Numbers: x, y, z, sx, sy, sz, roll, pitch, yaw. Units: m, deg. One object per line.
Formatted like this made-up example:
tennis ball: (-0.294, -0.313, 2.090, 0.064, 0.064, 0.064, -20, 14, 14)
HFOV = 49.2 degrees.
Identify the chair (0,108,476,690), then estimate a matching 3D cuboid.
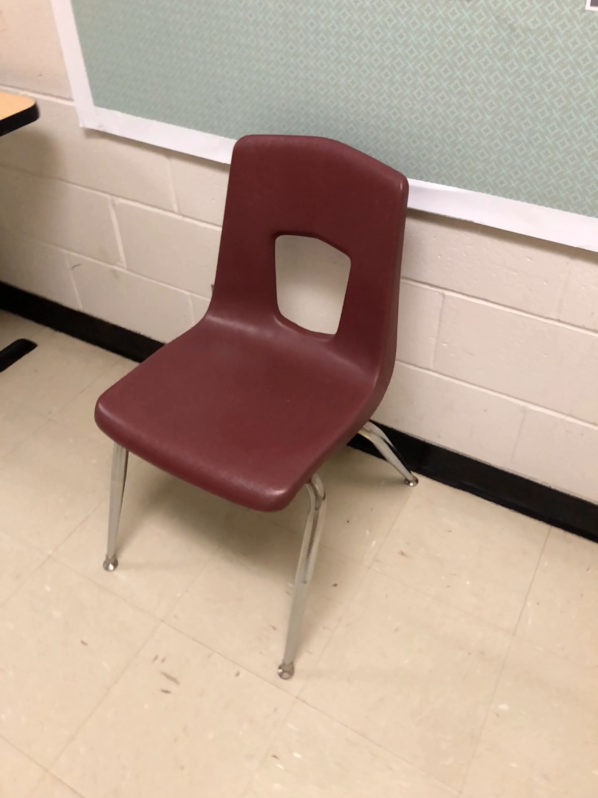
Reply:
chair: (-0.089, -0.013, 1.147, 0.505, 0.707, 0.555, 22, 48, 23)
